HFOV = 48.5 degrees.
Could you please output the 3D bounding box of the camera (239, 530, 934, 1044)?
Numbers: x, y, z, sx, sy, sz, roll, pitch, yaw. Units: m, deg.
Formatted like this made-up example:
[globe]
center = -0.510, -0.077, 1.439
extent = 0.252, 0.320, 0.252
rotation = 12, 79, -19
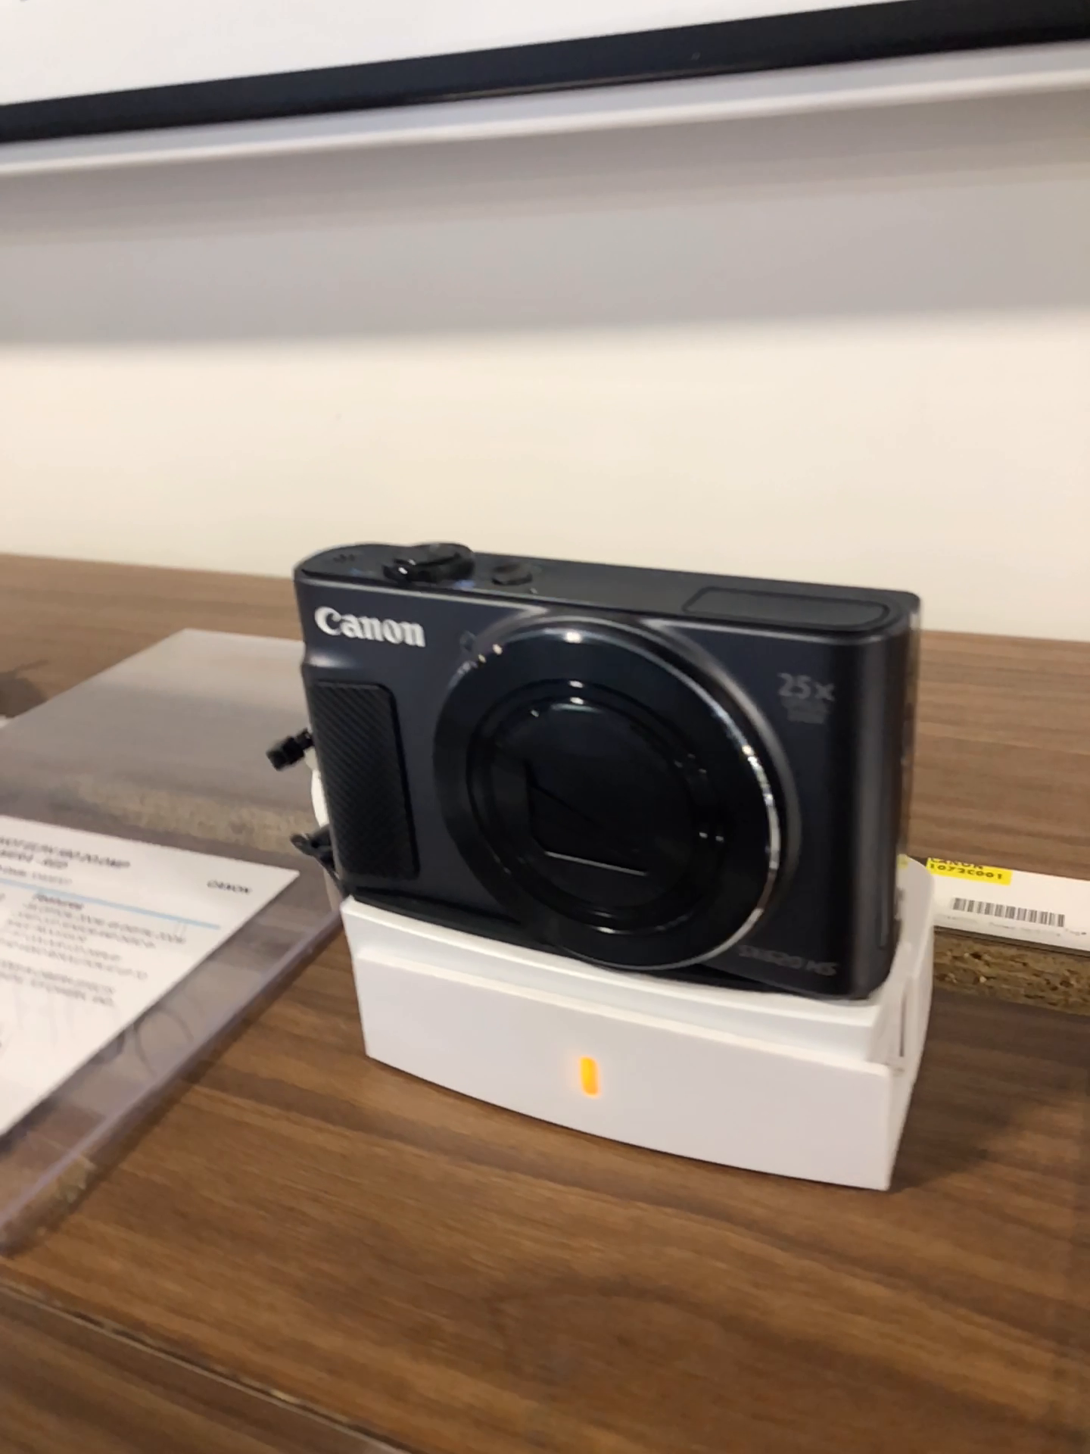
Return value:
[camera]
center = 0.005, 0.005, 0.192
extent = 0.100, 0.060, 0.030
rotation = 8, 25, 26
